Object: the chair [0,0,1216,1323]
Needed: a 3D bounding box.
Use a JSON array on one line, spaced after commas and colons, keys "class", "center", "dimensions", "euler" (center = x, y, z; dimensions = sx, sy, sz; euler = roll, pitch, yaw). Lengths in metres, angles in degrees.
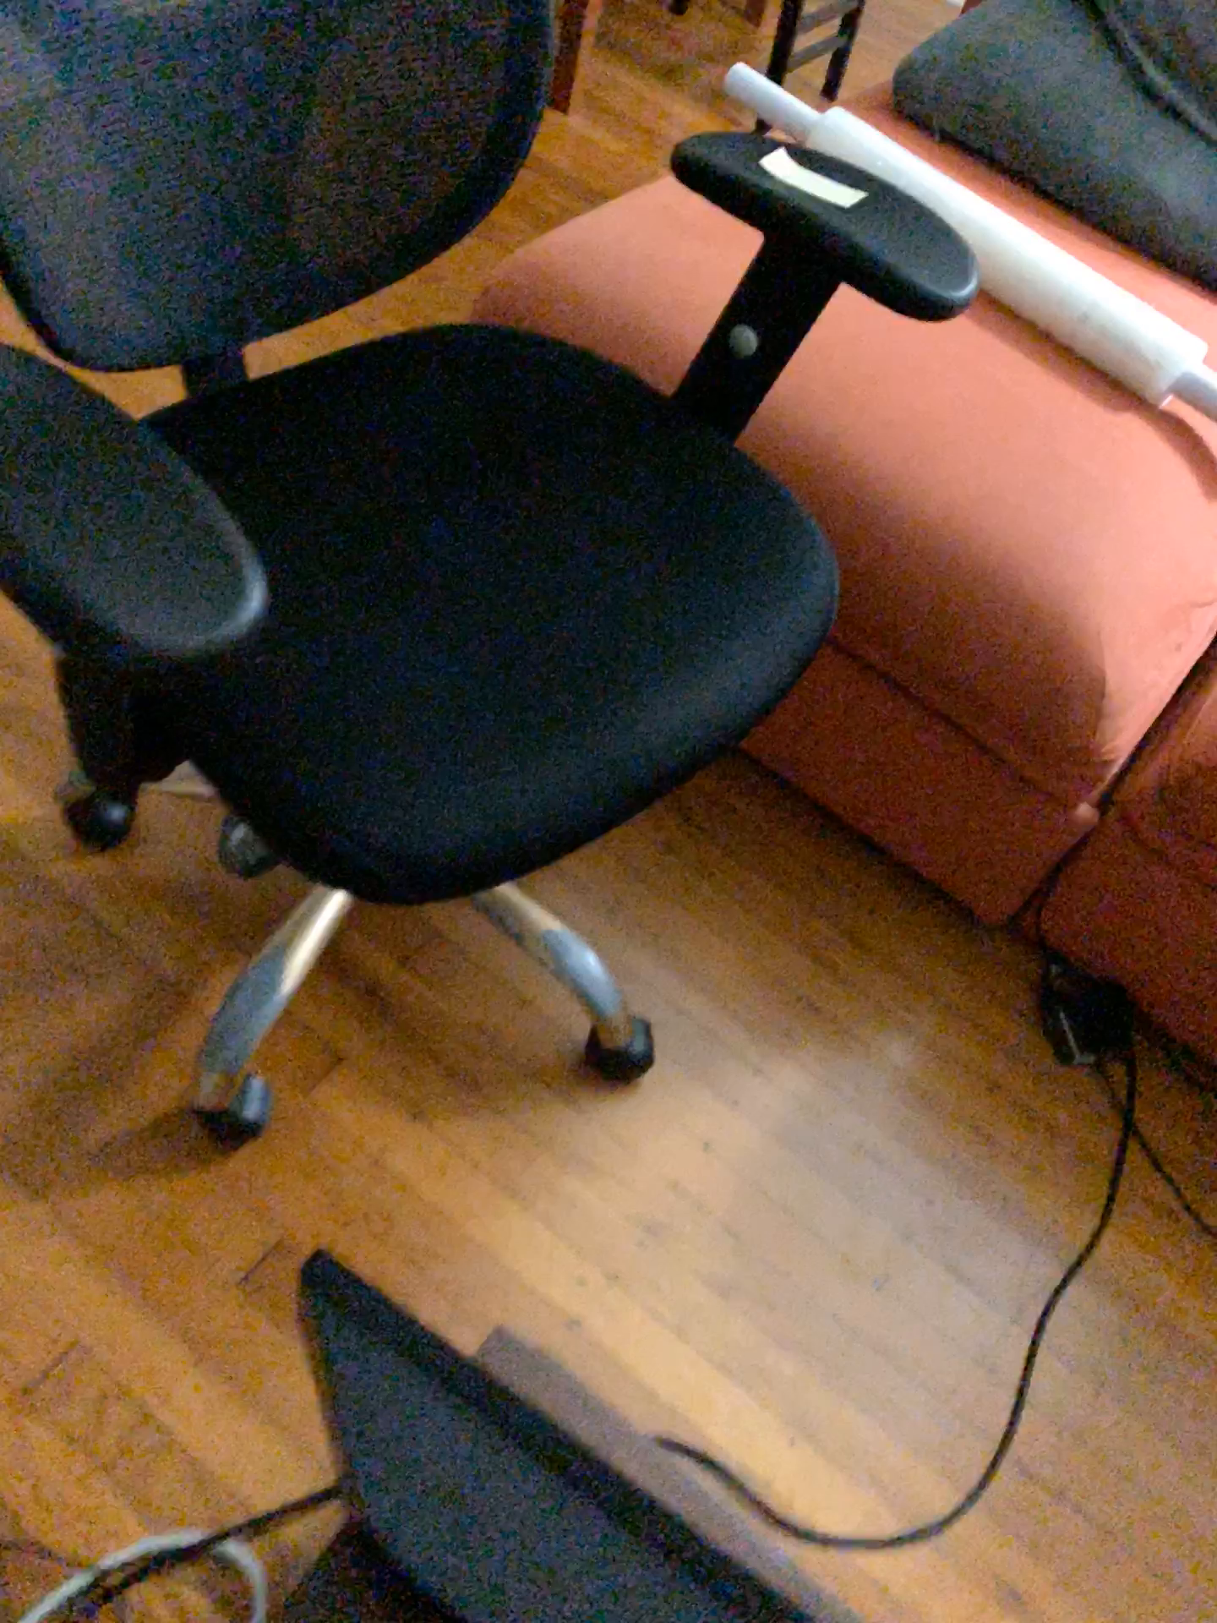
[{"class": "chair", "center": [-0.121, -0.273, 0.890], "dimensions": [0.642, 0.976, 0.661], "euler": [-33, 62, -33]}]
